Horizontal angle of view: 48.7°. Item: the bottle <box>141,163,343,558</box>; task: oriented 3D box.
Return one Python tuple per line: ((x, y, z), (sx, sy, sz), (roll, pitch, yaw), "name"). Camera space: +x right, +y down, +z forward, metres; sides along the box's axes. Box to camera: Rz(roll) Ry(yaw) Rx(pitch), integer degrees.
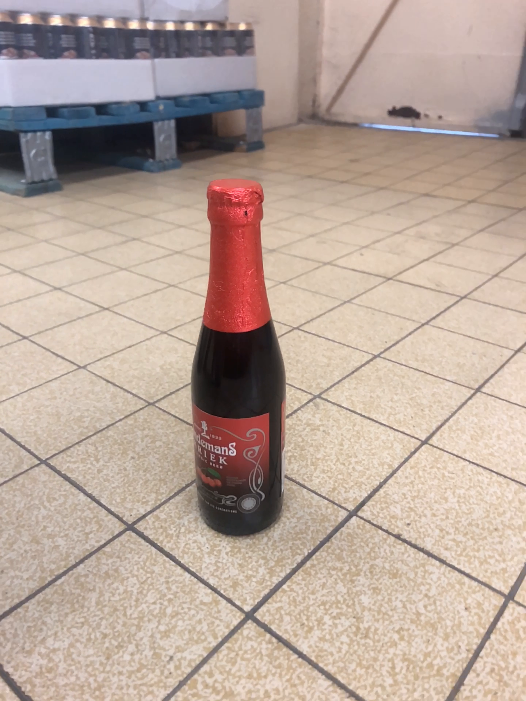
((-0.010, 0.005, 0.328), (0.070, 0.199, 0.070), (0, 26, 0), "bottle")
